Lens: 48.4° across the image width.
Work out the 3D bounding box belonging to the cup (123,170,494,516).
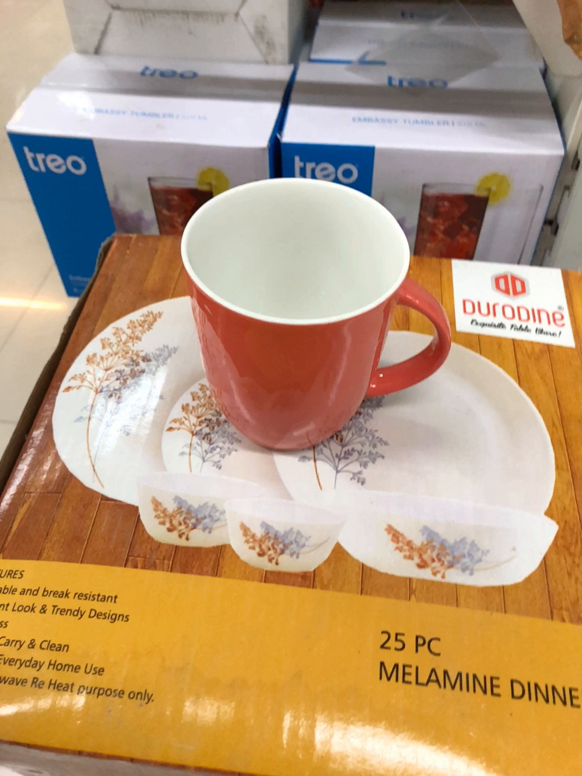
[{"bbox_3d":[0.013,-0.019,0.274,0.120,0.099,0.091,6,49,8],"label":"cup"}]
